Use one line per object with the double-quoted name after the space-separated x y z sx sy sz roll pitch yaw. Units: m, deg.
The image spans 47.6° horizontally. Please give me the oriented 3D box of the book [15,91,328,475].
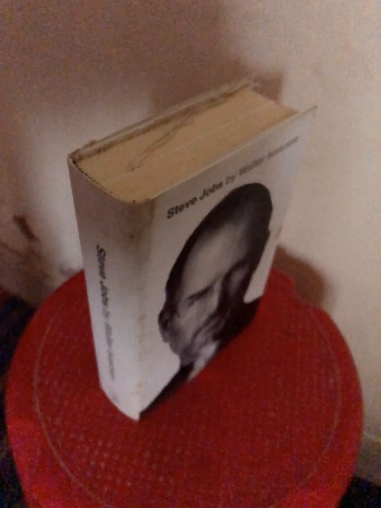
-0.006 0.029 0.306 0.060 0.229 0.170 36 52 27 "book"
